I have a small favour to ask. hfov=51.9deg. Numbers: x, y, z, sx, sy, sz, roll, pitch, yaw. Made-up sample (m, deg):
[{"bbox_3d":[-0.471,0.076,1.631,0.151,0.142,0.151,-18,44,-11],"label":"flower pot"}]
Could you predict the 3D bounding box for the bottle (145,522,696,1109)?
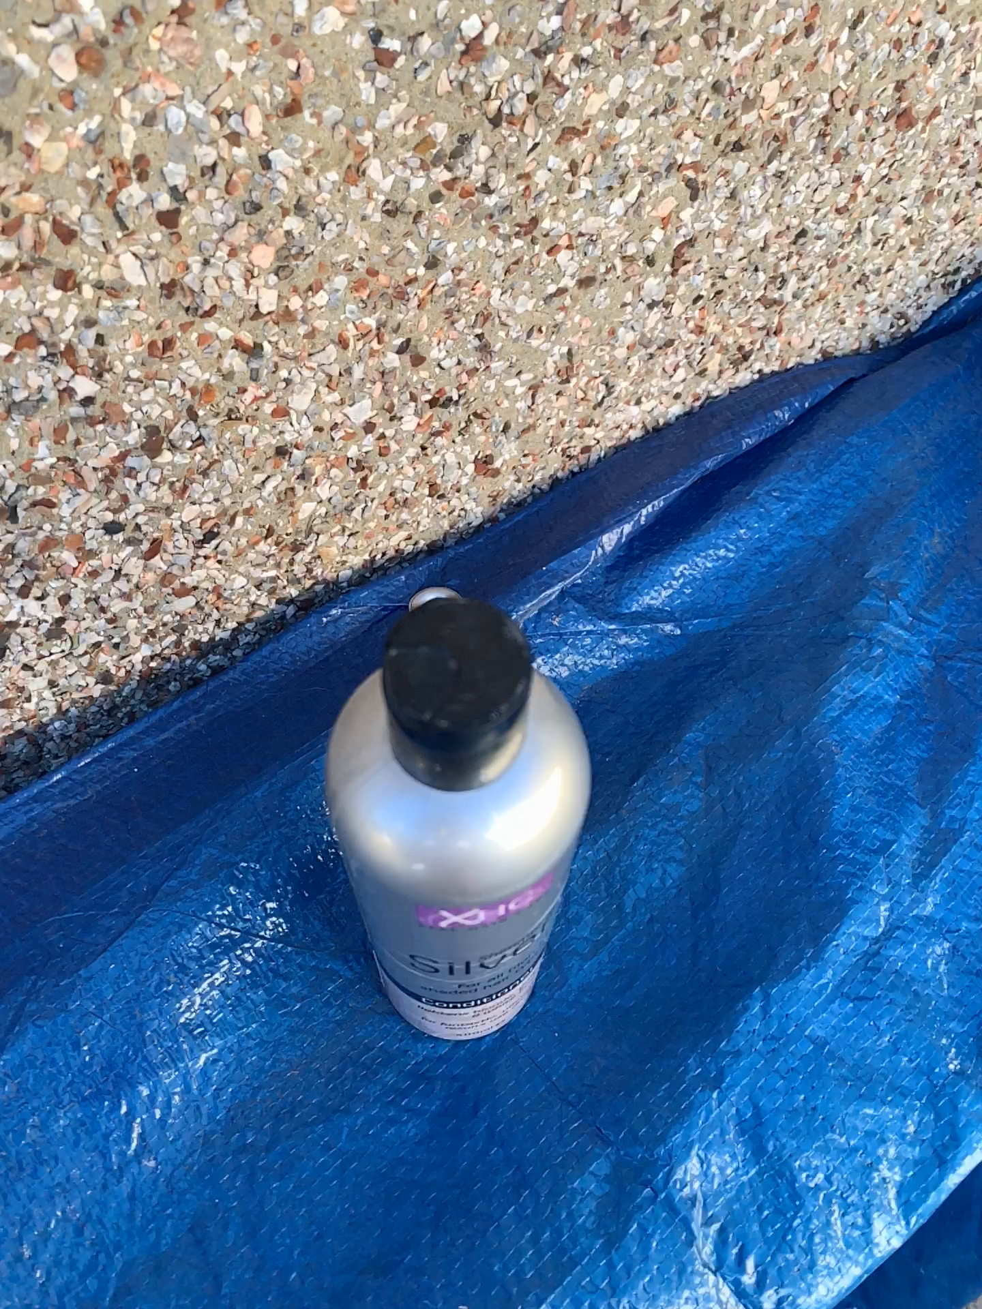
[{"bbox_3d":[-0.014,0.058,0.240,0.070,0.199,0.060,-15,63,-8],"label":"bottle"}]
